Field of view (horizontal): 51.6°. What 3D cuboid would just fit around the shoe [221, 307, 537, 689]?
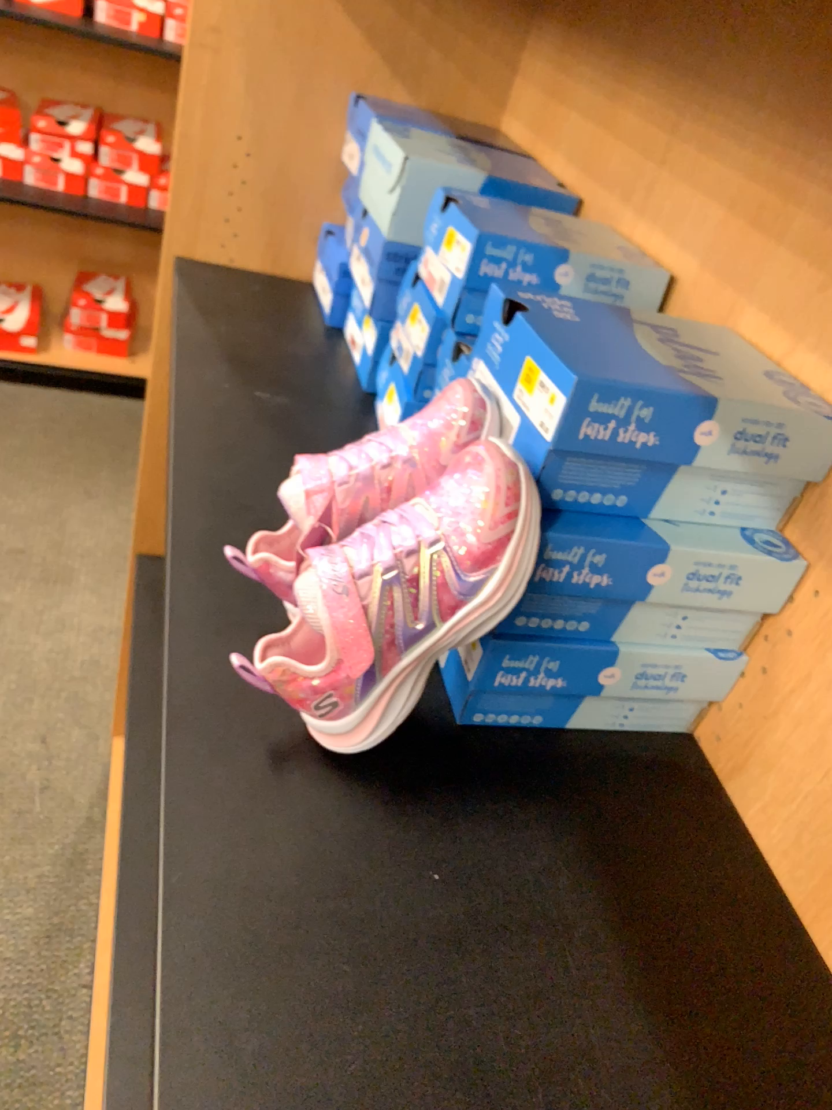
[{"bbox_3d":[-0.032,-0.034,0.543,0.080,0.209,0.090,26,18,-28],"label":"shoe"}]

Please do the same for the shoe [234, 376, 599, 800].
[{"bbox_3d":[-0.008,0.020,0.471,0.080,0.199,0.090,24,17,-32],"label":"shoe"}]
